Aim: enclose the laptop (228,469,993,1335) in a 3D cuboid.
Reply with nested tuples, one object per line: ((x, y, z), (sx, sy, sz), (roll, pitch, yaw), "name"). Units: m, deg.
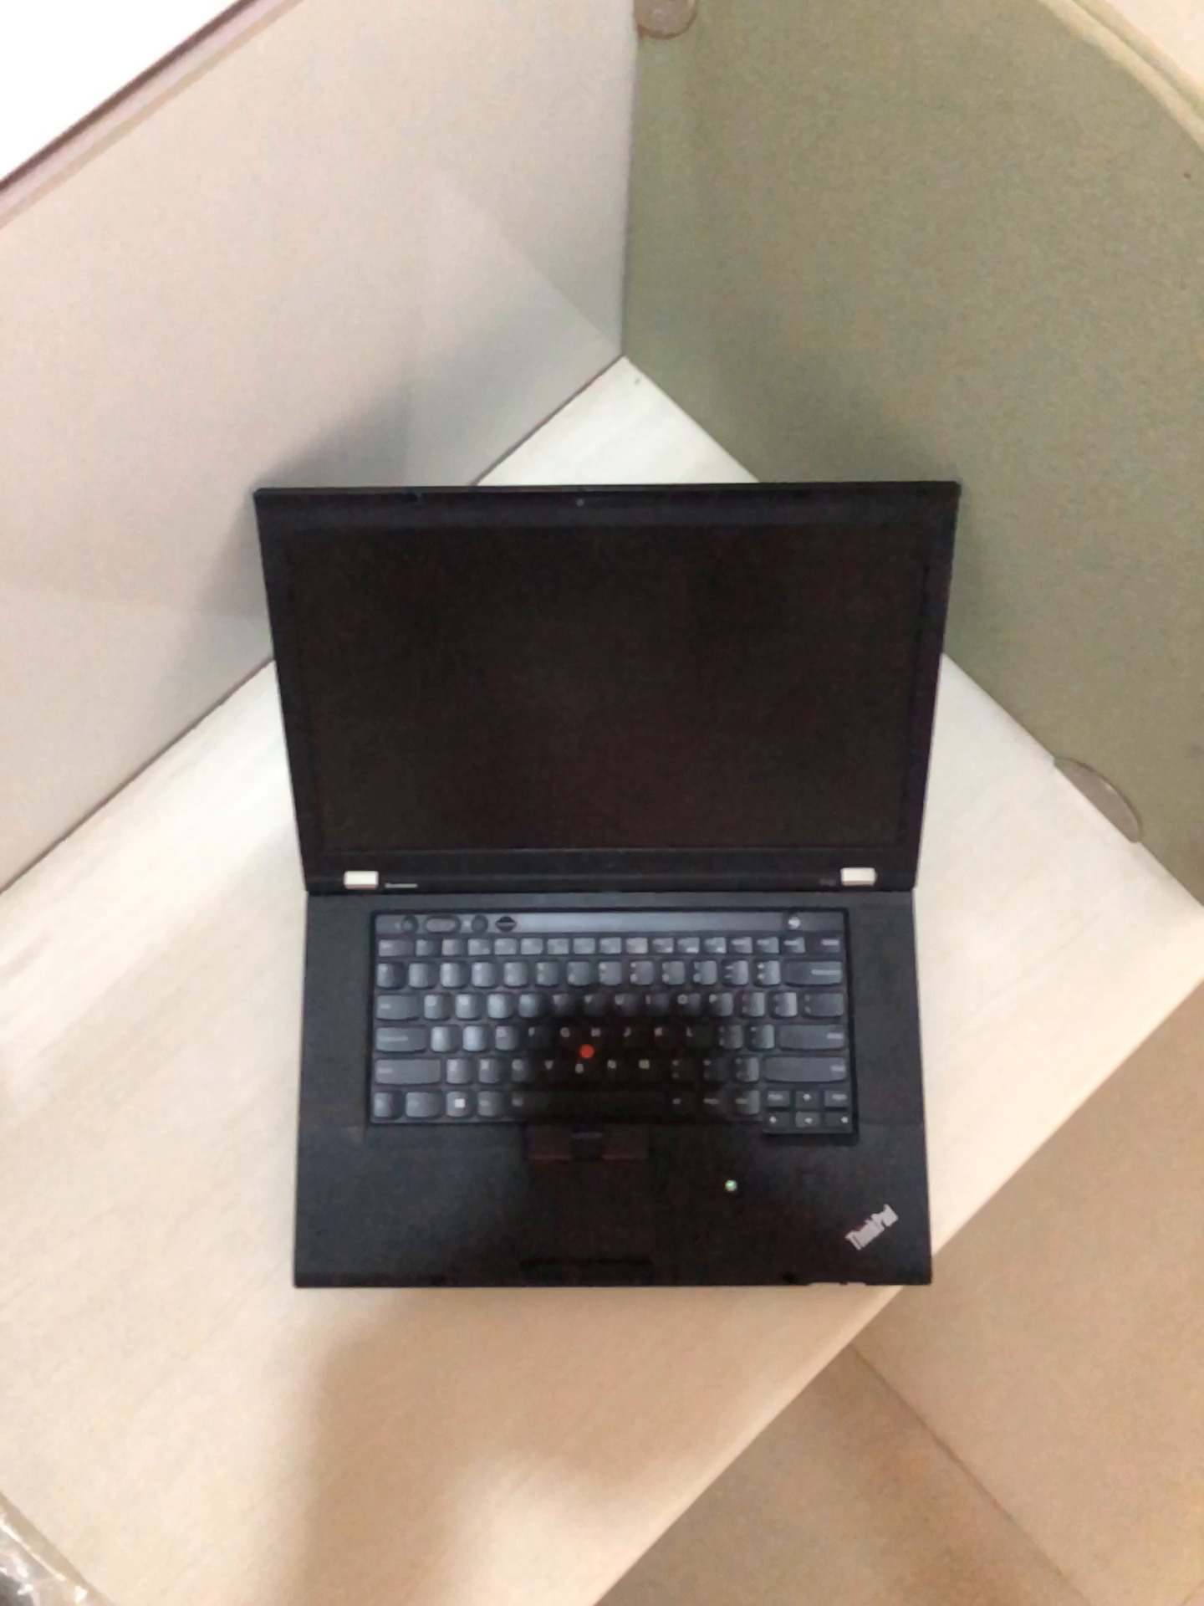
((0.006, 0.056, 0.706), (0.353, 0.142, 0.411), (0, 82, 1), "laptop")
